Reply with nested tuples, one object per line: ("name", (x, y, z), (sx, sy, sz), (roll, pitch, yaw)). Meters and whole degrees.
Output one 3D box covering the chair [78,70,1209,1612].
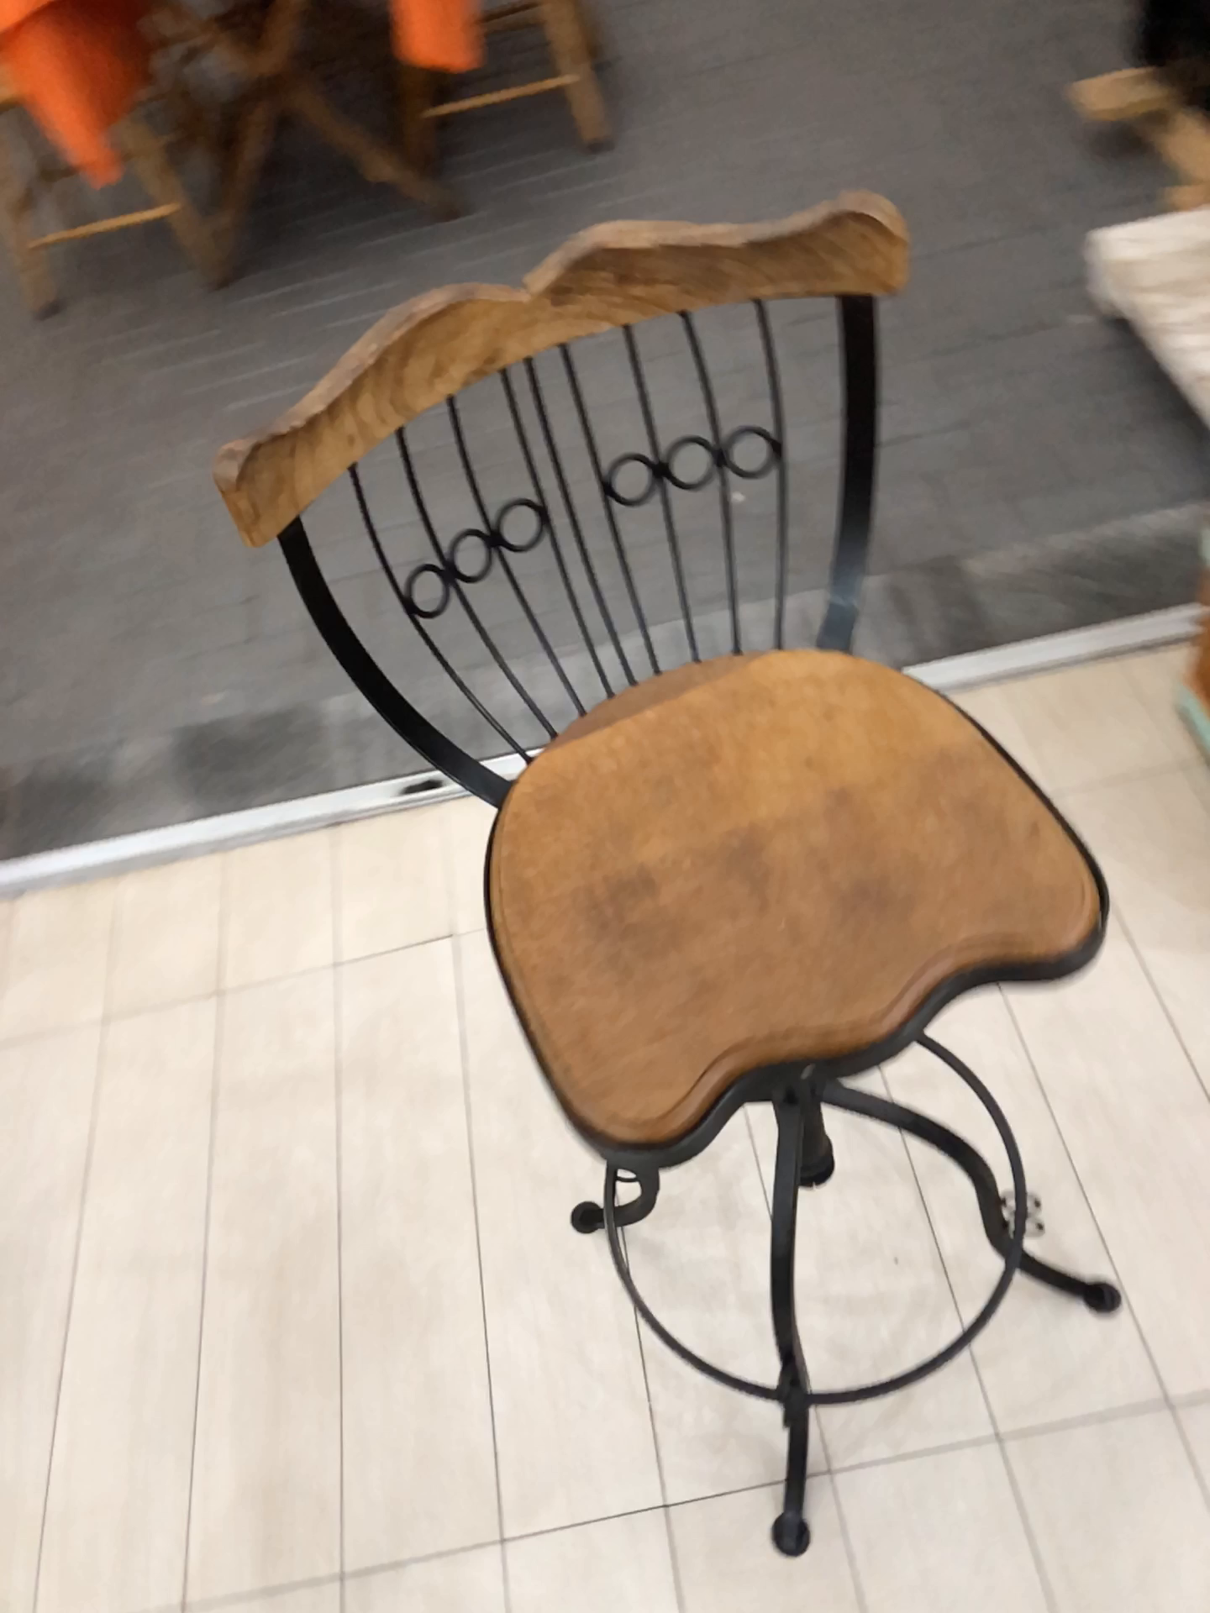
("chair", (0.106, 0.113, 0.912), (0.460, 0.895, 0.473), (-25, 48, -6))
